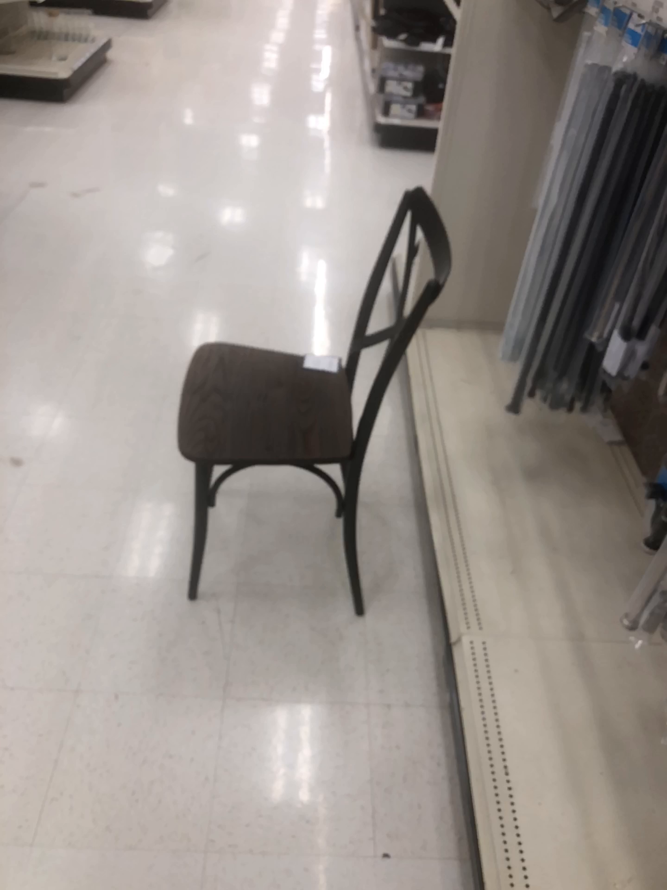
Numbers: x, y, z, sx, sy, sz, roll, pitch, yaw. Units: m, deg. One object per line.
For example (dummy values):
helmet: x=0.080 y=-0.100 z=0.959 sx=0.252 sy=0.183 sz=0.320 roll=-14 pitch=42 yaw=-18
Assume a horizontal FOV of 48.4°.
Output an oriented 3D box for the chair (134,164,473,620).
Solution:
chair: x=-0.080 y=-0.088 z=1.588 sx=0.525 sy=0.811 sz=0.478 roll=4 pitch=38 yaw=-3
